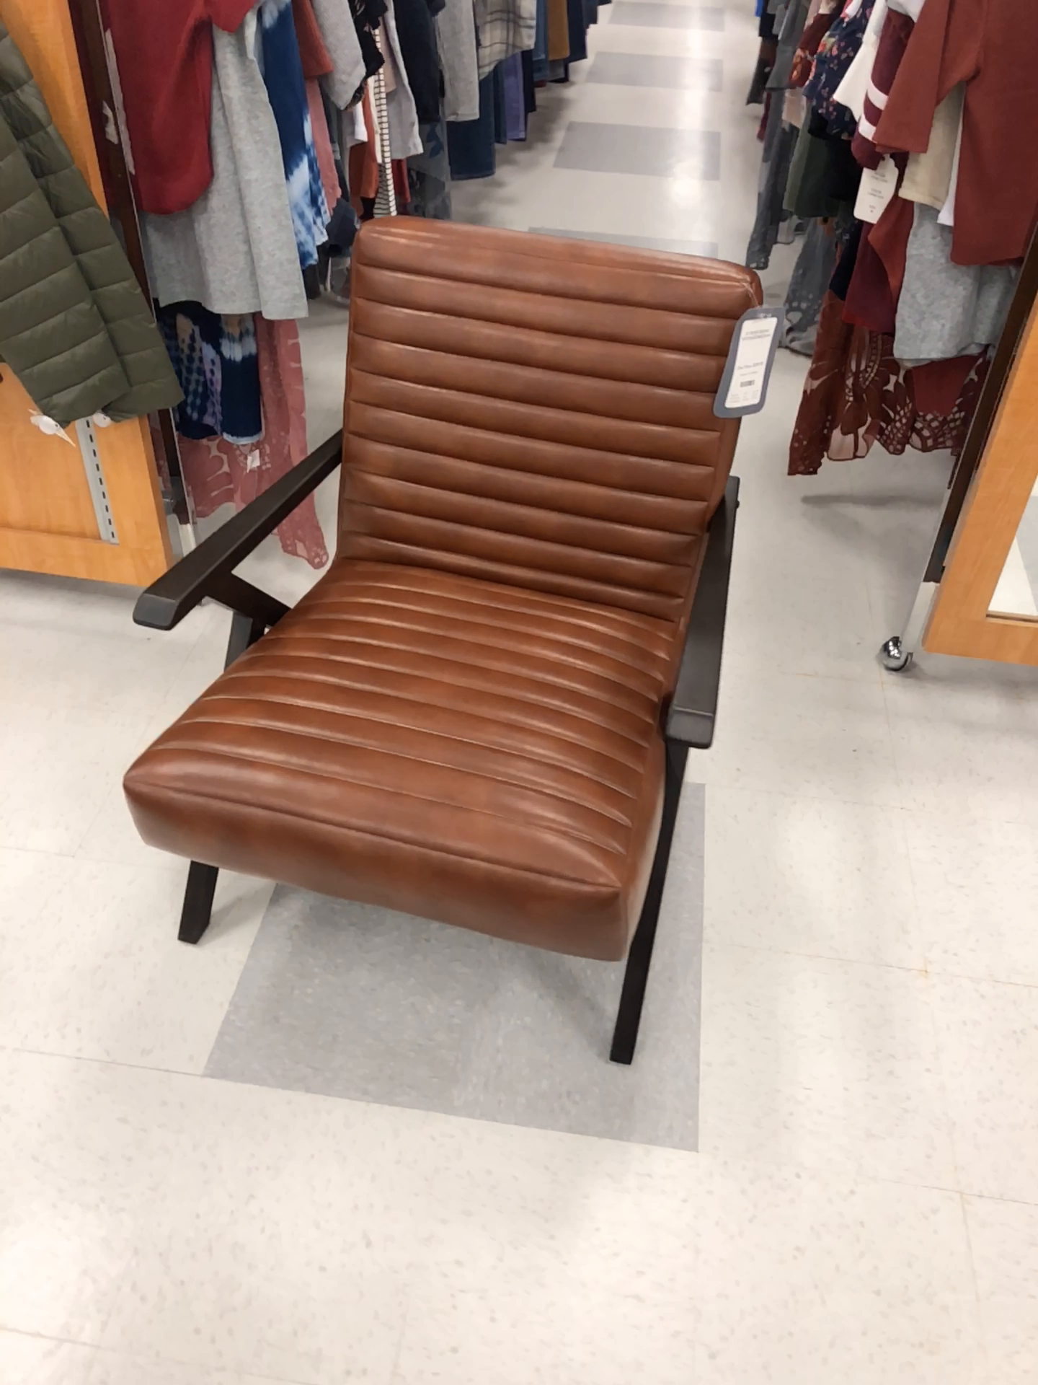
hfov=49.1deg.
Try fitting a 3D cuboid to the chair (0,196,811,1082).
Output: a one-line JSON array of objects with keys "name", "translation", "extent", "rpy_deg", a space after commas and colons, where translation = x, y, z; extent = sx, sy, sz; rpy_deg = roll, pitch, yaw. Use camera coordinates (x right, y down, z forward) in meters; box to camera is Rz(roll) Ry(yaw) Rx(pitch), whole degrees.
[{"name": "chair", "translation": [-0.075, -0.095, 1.449], "extent": [0.675, 0.756, 0.681], "rpy_deg": [12, 42, 11]}]
